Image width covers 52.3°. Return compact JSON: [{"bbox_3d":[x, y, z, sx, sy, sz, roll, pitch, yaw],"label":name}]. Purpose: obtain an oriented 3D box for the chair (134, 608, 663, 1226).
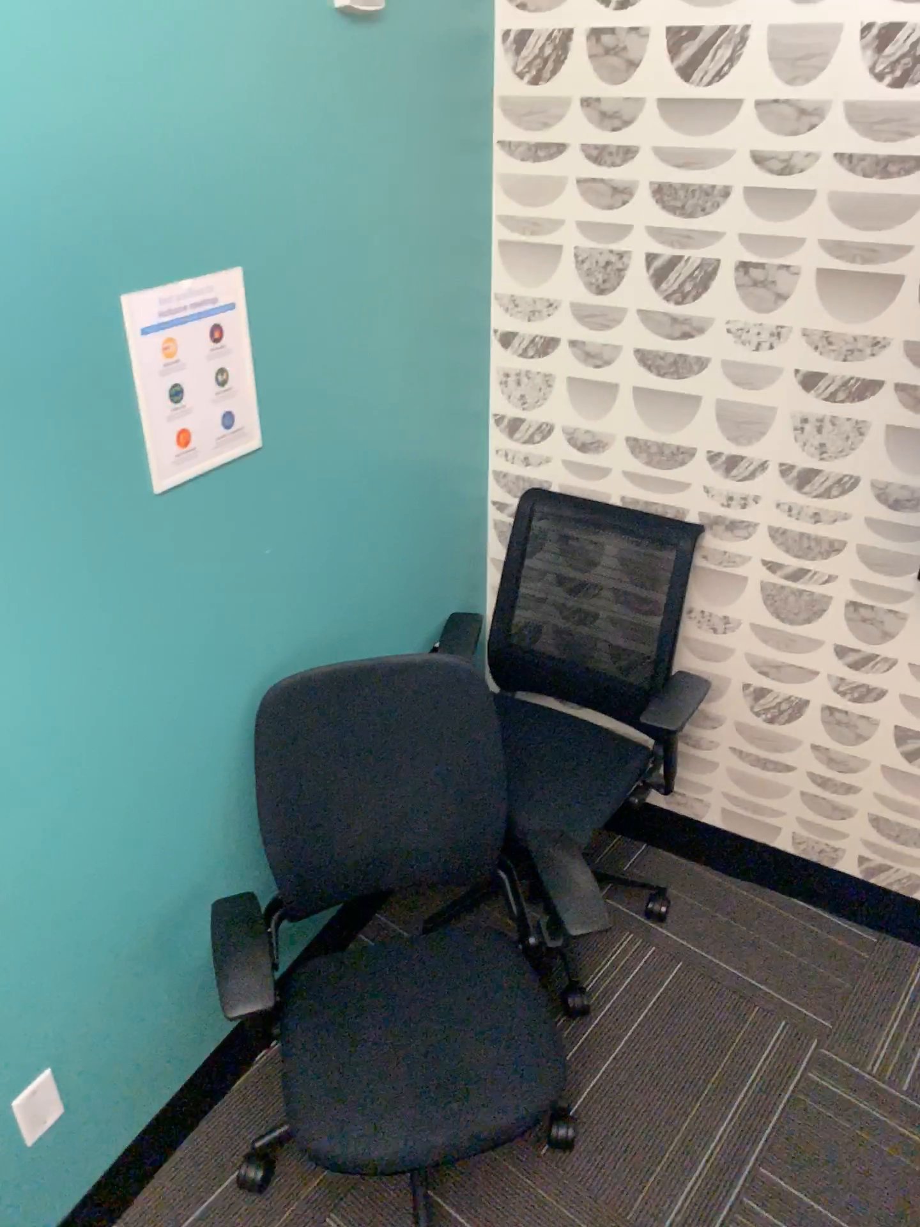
[{"bbox_3d":[-0.144,0.628,1.714,0.660,0.945,0.775,-7,31,-11],"label":"chair"}]
